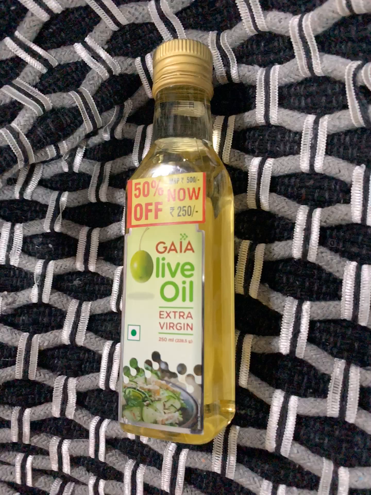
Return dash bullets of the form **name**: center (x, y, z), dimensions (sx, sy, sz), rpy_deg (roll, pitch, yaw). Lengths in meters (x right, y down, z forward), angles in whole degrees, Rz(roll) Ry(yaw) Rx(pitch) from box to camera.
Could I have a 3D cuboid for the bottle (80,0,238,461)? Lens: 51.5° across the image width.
- **bottle**: center (-0.008, -0.016, 0.178), dimensions (0.050, 0.050, 0.190), rpy_deg (-1, 83, 23)
